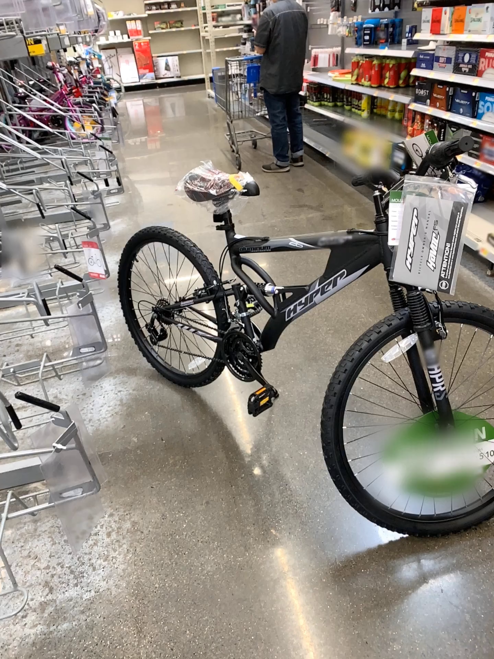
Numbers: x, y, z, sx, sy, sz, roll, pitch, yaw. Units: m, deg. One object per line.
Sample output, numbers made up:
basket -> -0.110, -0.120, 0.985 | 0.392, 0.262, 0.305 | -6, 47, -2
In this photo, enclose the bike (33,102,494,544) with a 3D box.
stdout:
bike -> 0.219, -0.172, 1.900 | 1.680, 1.089, 0.693 | 15, 36, 28
